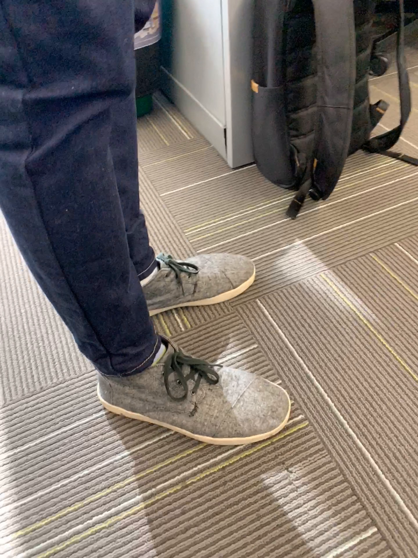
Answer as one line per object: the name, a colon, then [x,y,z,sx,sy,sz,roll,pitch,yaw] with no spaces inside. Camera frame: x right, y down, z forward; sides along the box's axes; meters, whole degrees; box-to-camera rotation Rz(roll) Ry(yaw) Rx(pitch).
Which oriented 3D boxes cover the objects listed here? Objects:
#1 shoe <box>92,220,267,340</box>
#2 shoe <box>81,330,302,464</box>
shoe: [-0.056,-0.004,0.820,0.301,0.087,0.134,-16,47,-9]
shoe: [-0.018,0.172,0.647,0.299,0.087,0.134,4,47,12]
